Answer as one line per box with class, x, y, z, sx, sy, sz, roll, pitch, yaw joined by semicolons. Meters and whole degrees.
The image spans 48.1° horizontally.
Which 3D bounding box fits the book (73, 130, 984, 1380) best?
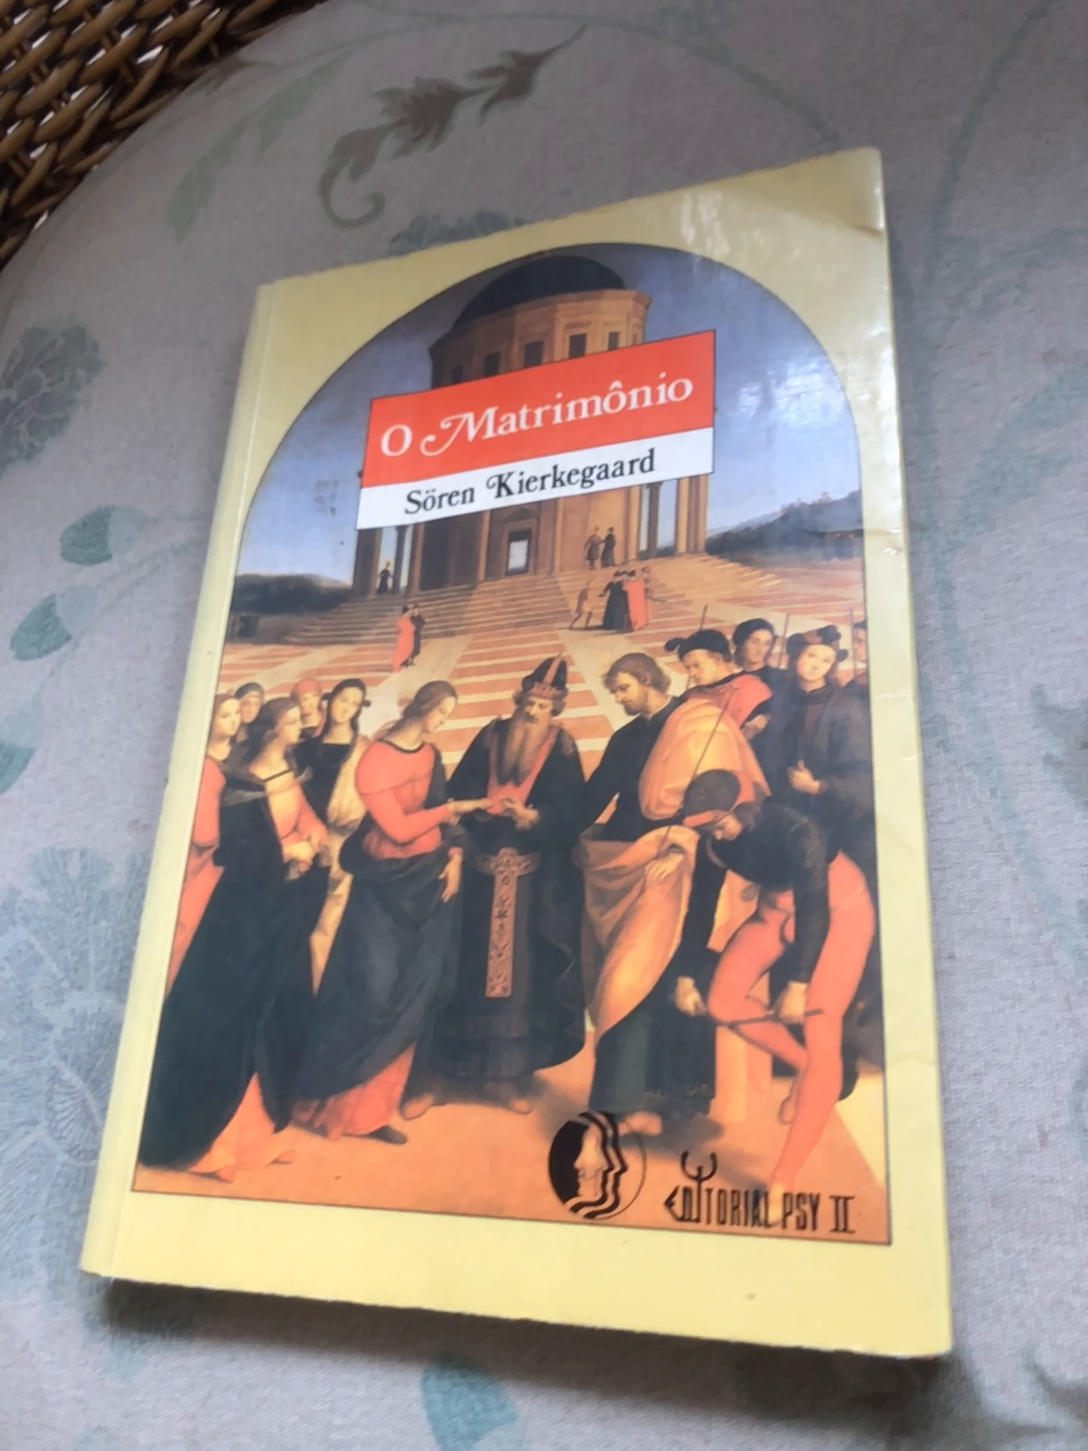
book;-0.002;-0.005;0.218;0.140;0.020;0.200;-4;69;20
